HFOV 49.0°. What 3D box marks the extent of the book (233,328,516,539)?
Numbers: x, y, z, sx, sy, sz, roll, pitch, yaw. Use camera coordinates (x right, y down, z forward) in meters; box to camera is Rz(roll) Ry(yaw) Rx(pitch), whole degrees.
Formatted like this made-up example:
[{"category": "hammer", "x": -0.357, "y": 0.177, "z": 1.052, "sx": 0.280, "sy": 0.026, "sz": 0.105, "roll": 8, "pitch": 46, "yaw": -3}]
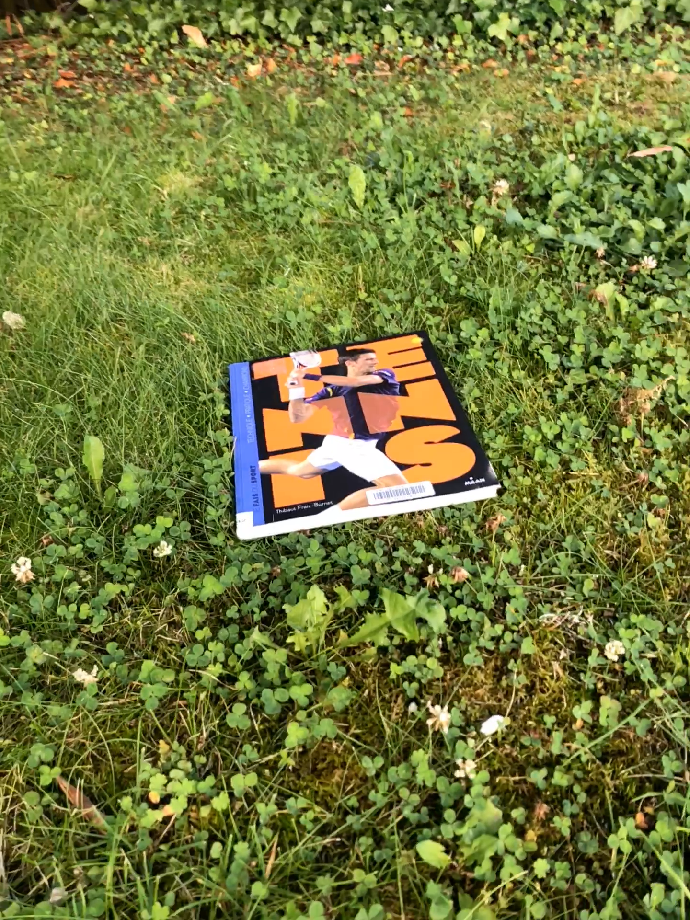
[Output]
[{"category": "book", "x": 0.009, "y": -0.036, "z": 0.642, "sx": 0.198, "sy": 0.016, "sz": 0.241, "roll": -9, "pitch": 37, "yaw": -5}]
